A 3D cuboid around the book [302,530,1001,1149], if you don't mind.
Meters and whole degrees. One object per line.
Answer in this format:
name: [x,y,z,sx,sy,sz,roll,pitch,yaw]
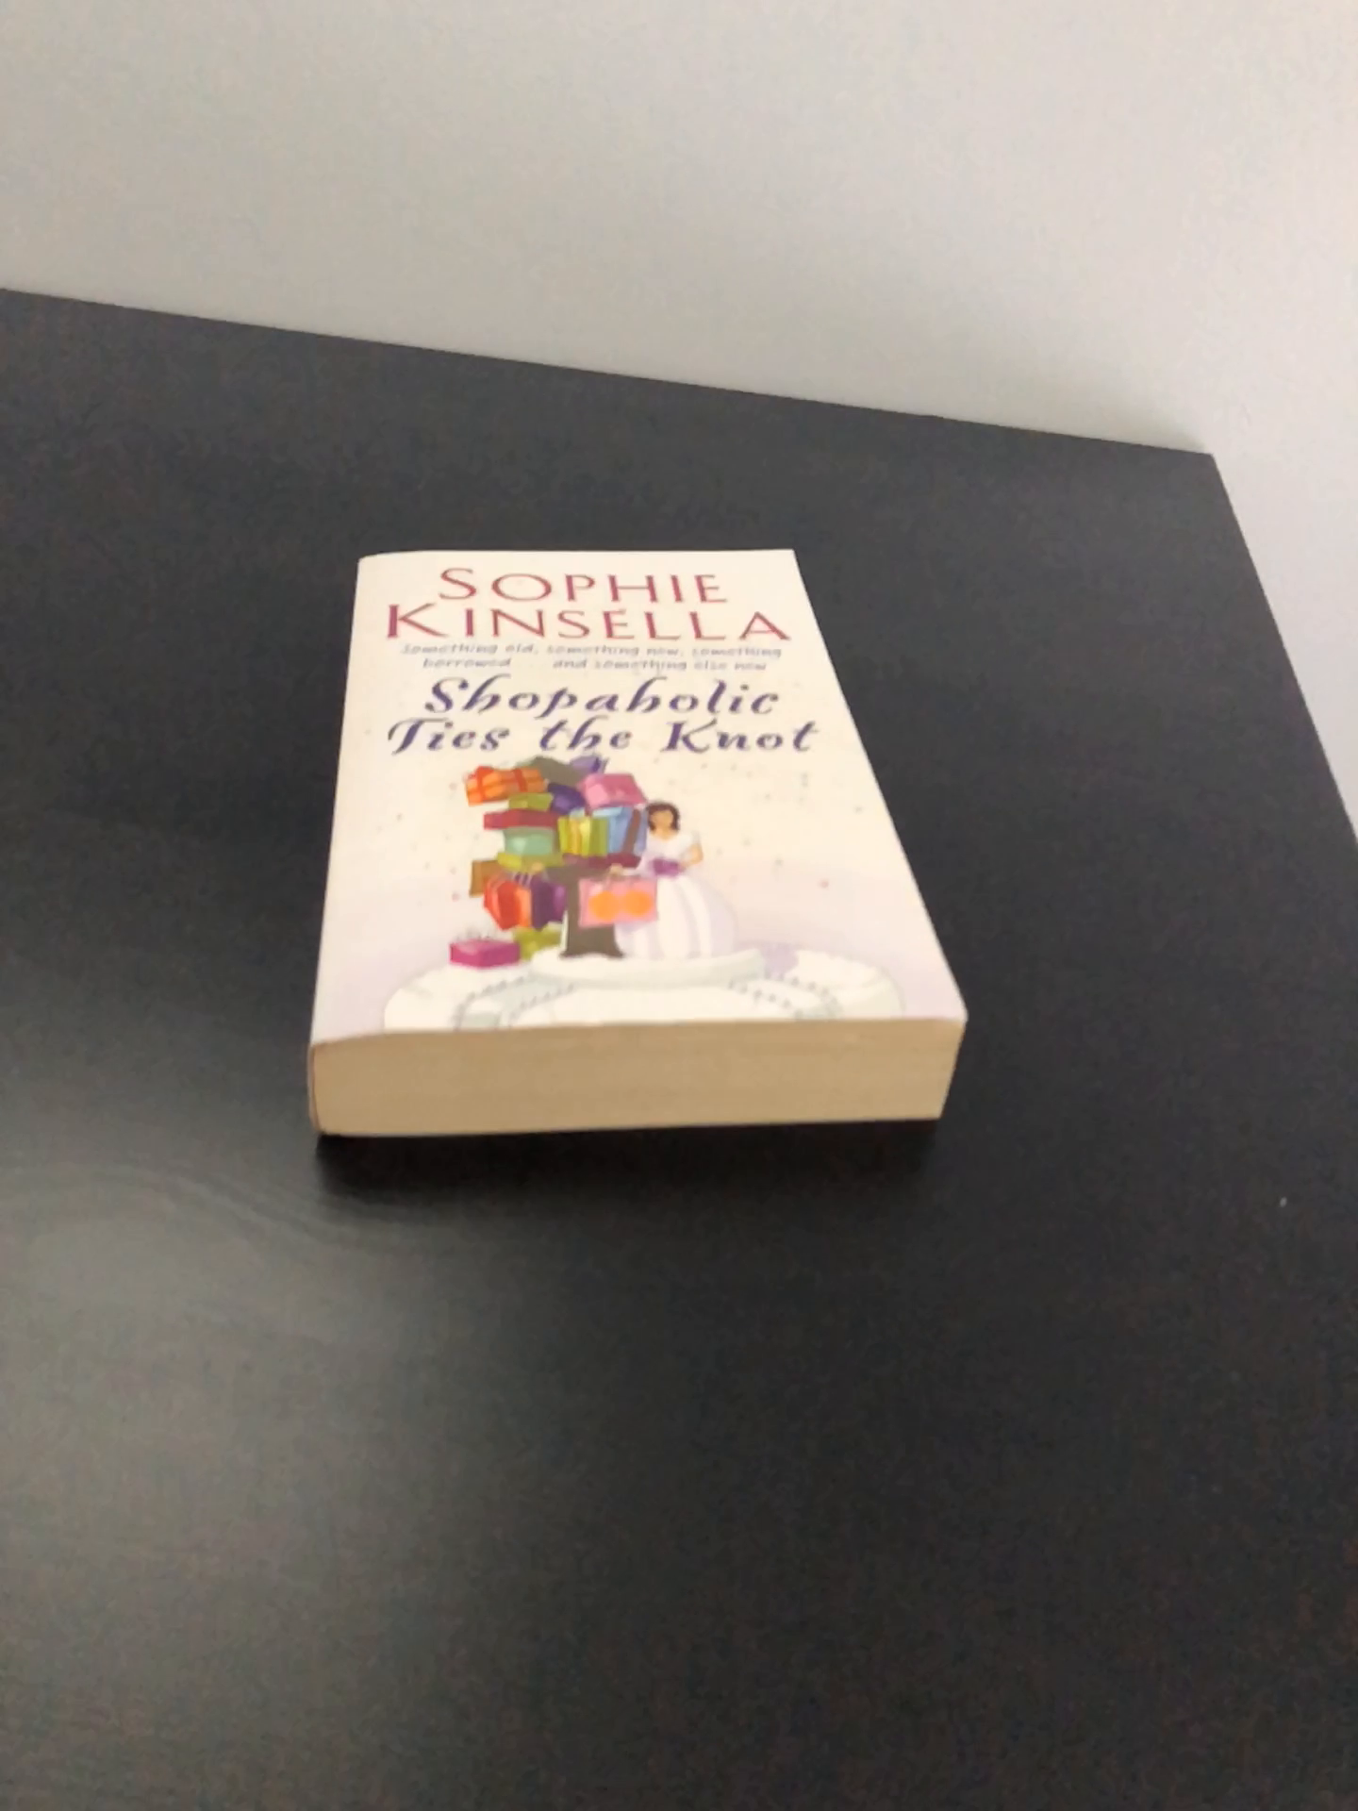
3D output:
book: [-0.015,-0.032,0.364,0.130,0.035,0.201,-2,39,-7]
